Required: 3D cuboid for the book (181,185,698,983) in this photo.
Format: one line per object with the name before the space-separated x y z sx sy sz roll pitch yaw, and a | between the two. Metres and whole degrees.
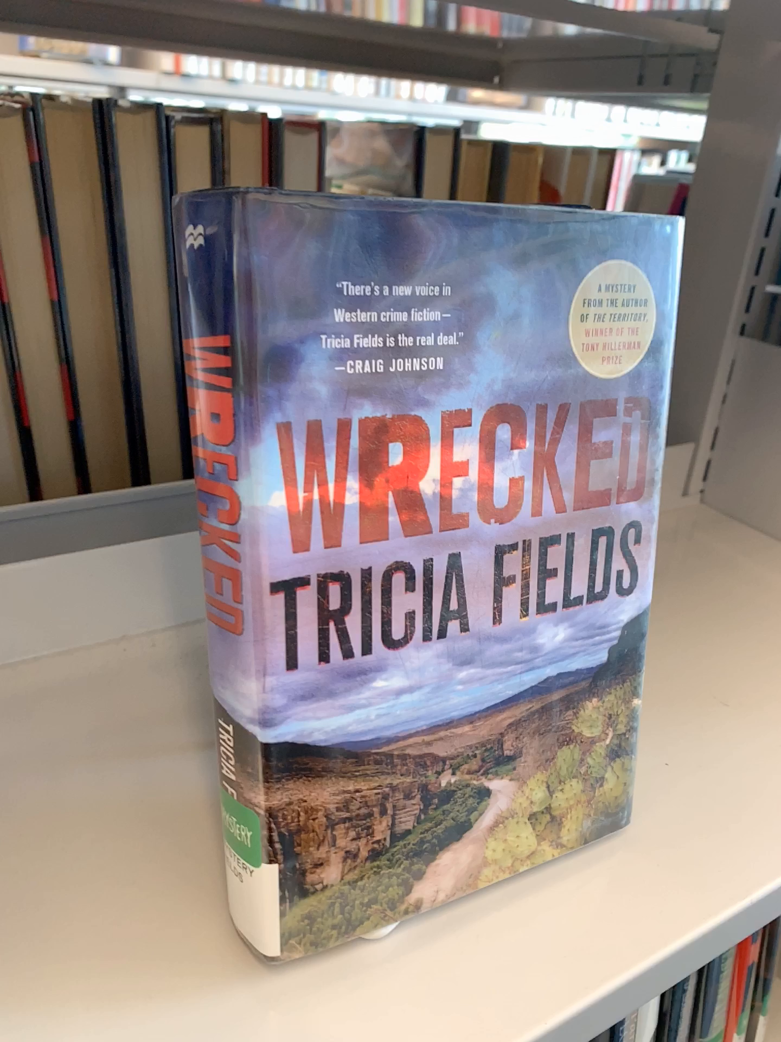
book | 0.021 0.015 0.253 0.147 0.213 0.035 -9 18 -28
